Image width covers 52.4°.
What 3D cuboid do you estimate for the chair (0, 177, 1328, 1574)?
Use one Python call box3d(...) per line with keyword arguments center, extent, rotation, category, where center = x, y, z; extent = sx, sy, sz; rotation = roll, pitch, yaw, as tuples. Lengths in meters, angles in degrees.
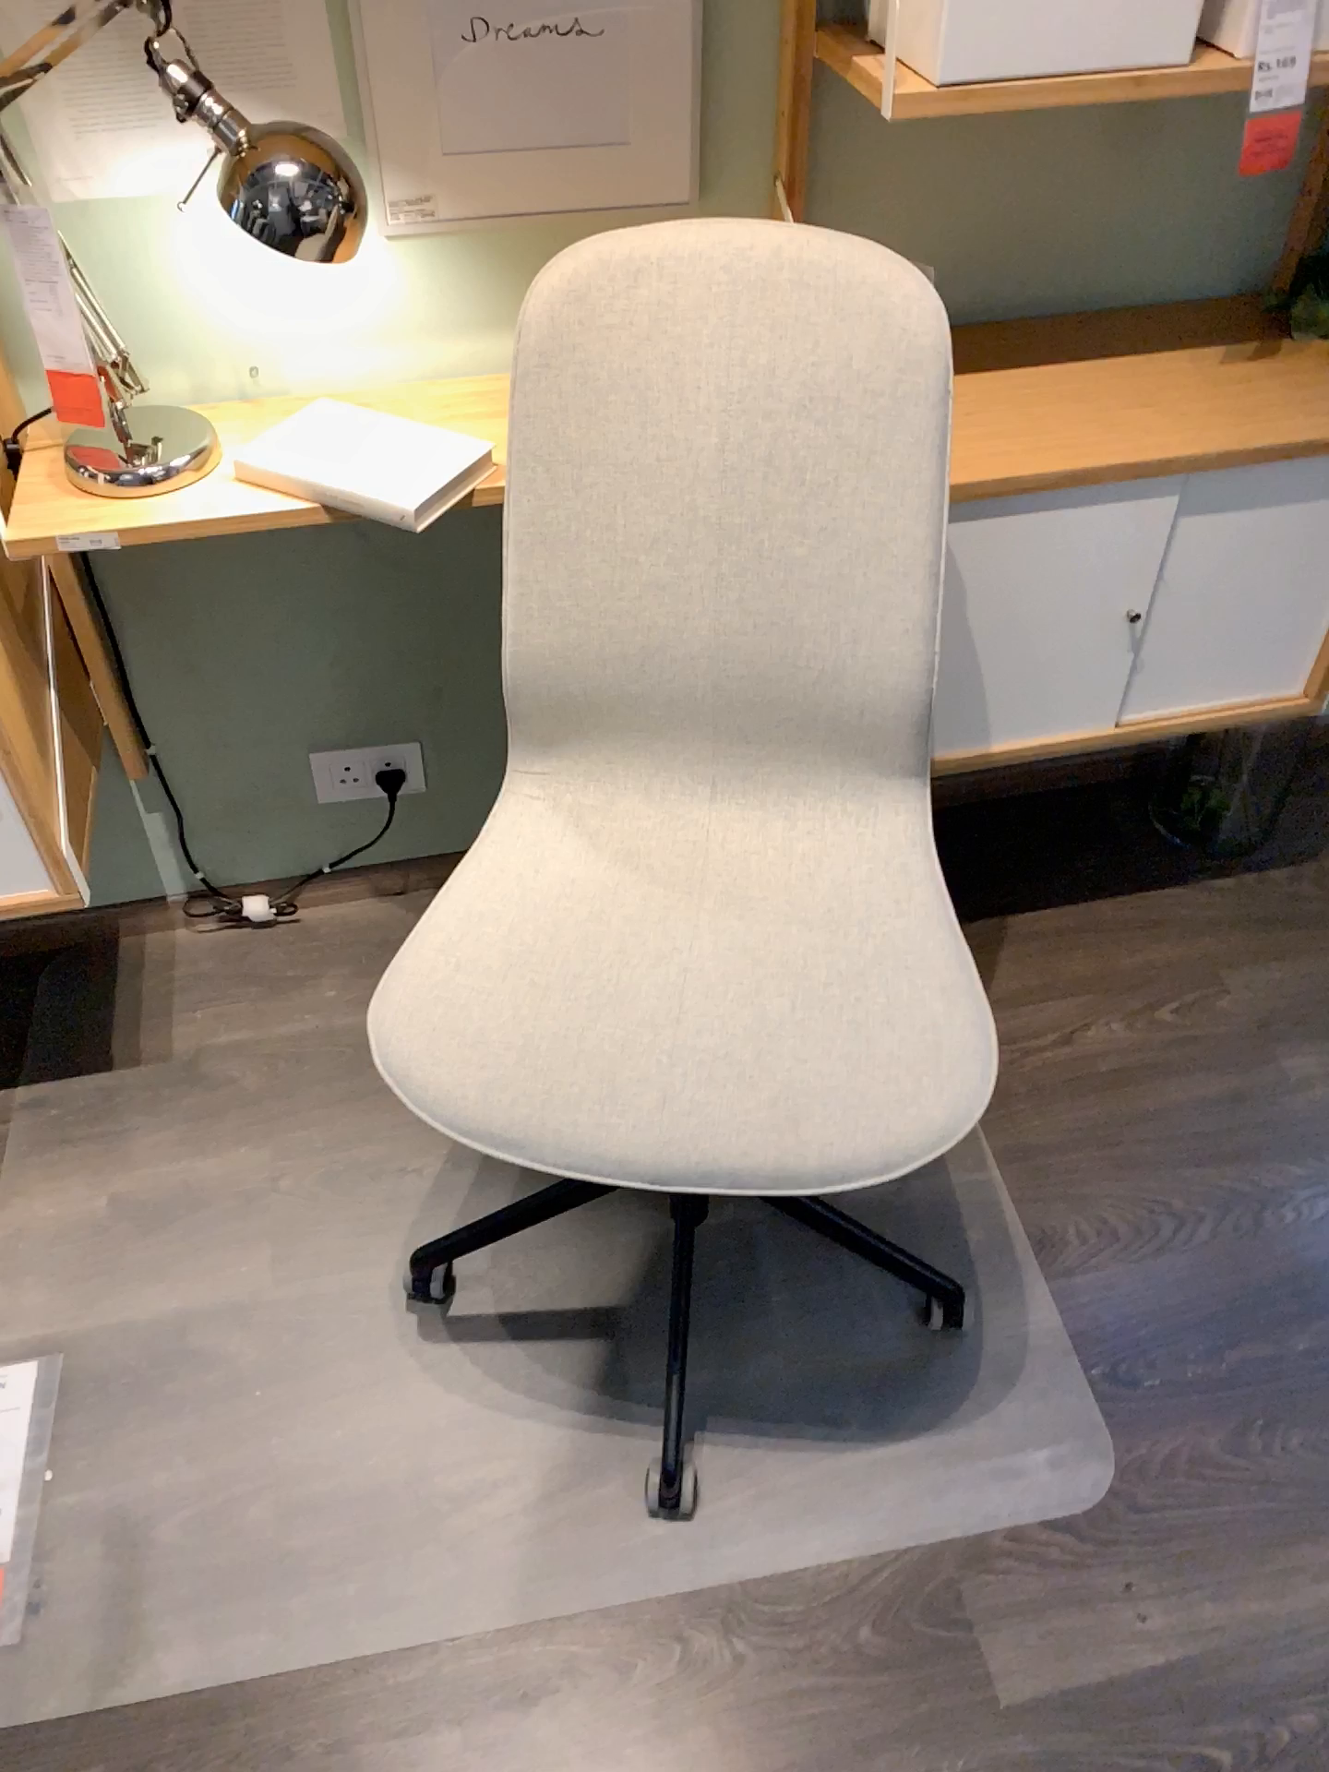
box3d(center=(0.034, 0.040, 1.192), extent=(0.670, 1.016, 0.673), rotation=(3, 45, 4), category="chair")
